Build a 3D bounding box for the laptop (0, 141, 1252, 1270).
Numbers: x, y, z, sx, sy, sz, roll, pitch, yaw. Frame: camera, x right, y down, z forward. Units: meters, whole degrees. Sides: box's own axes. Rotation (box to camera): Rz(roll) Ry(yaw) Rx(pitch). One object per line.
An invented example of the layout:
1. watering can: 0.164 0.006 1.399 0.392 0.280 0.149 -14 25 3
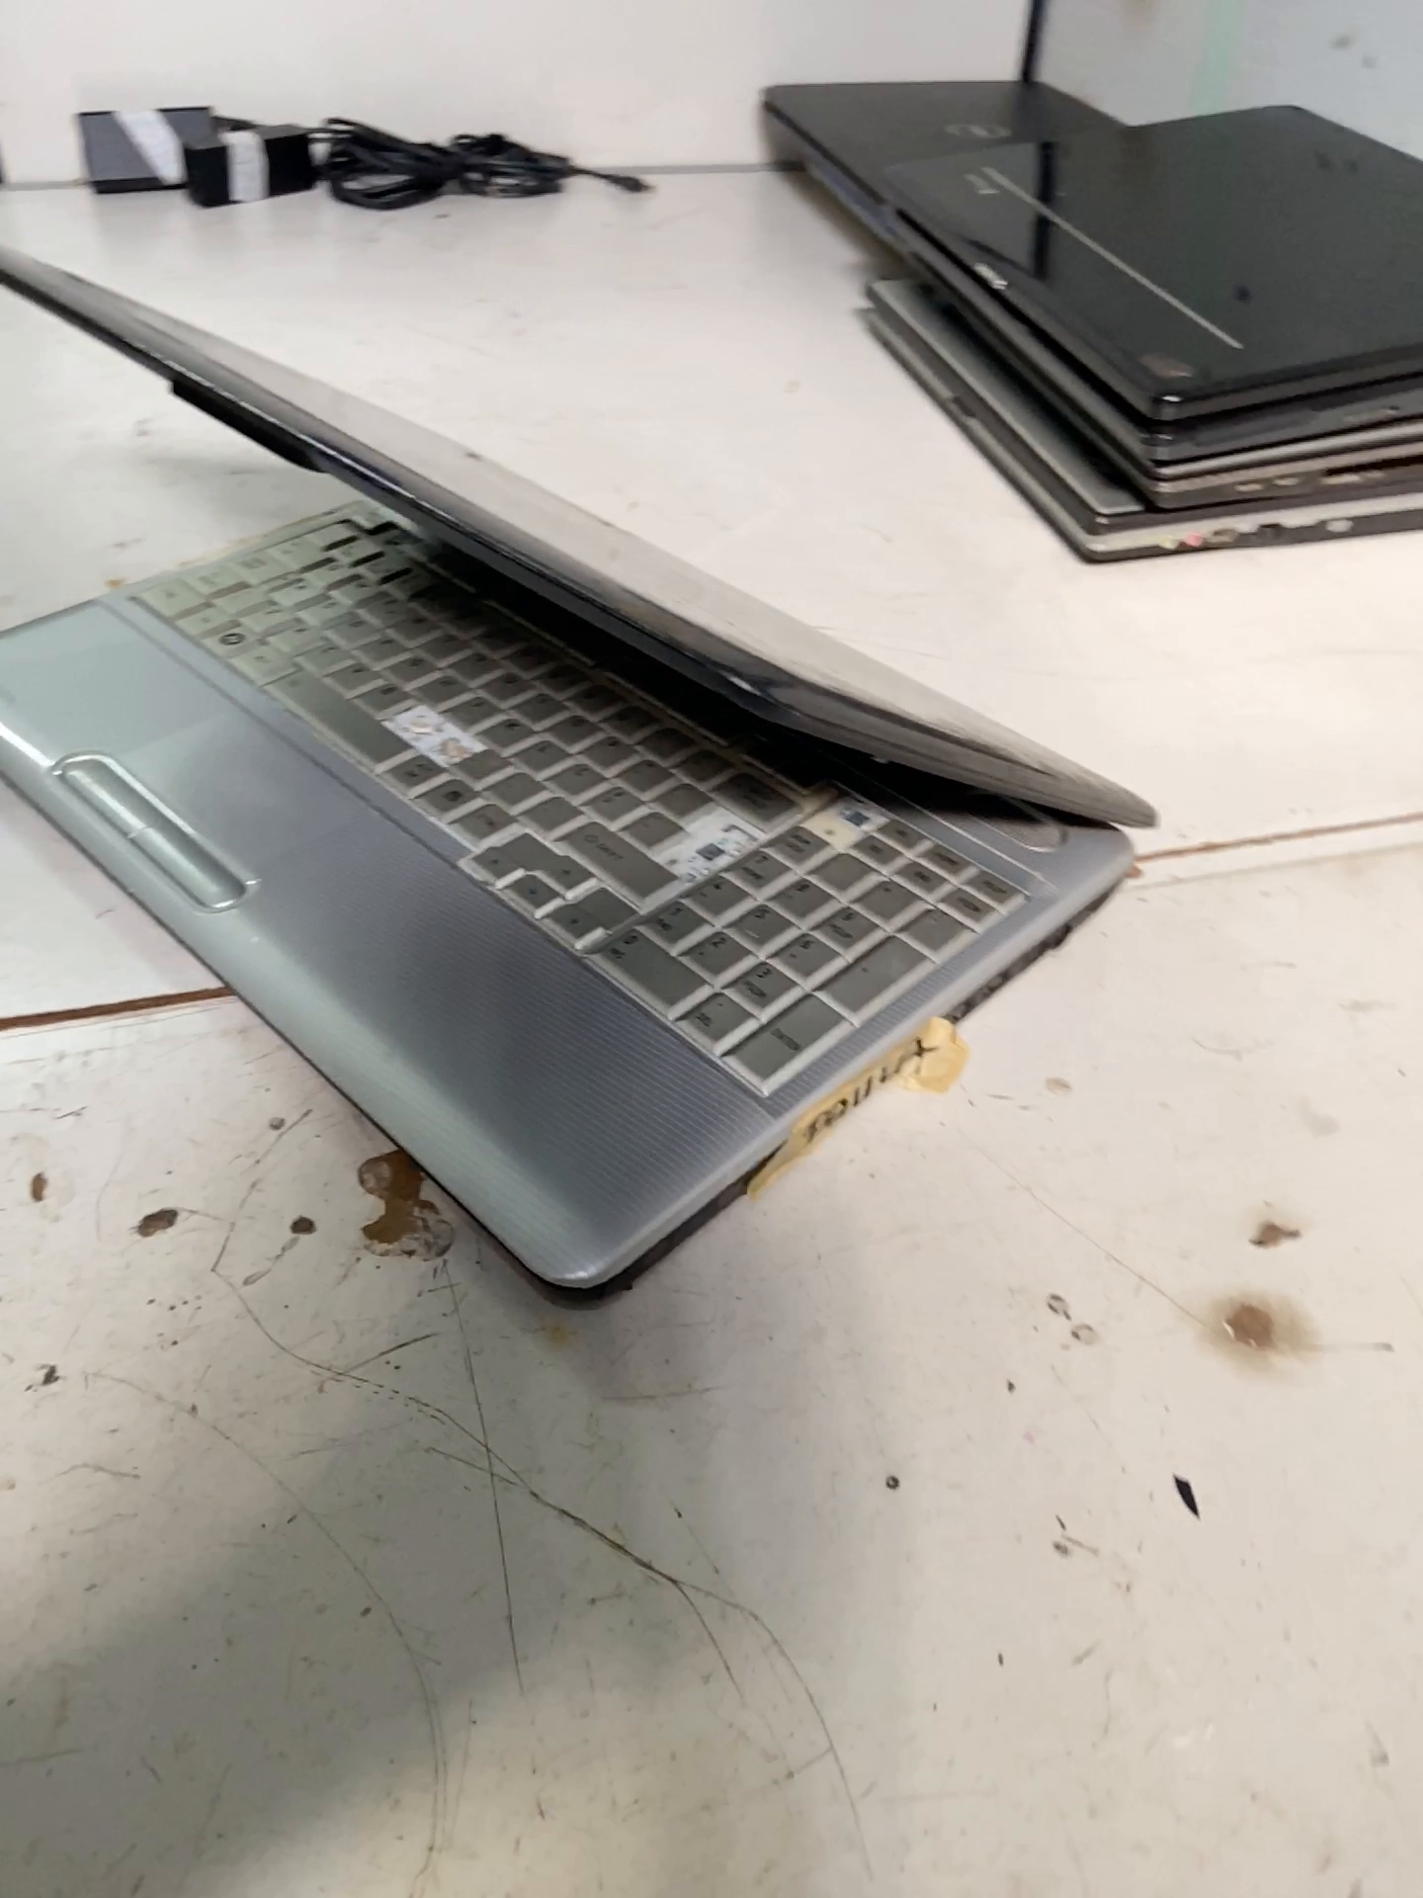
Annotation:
1. laptop: -0.076 -0.124 0.480 0.372 0.143 0.256 35 51 30
